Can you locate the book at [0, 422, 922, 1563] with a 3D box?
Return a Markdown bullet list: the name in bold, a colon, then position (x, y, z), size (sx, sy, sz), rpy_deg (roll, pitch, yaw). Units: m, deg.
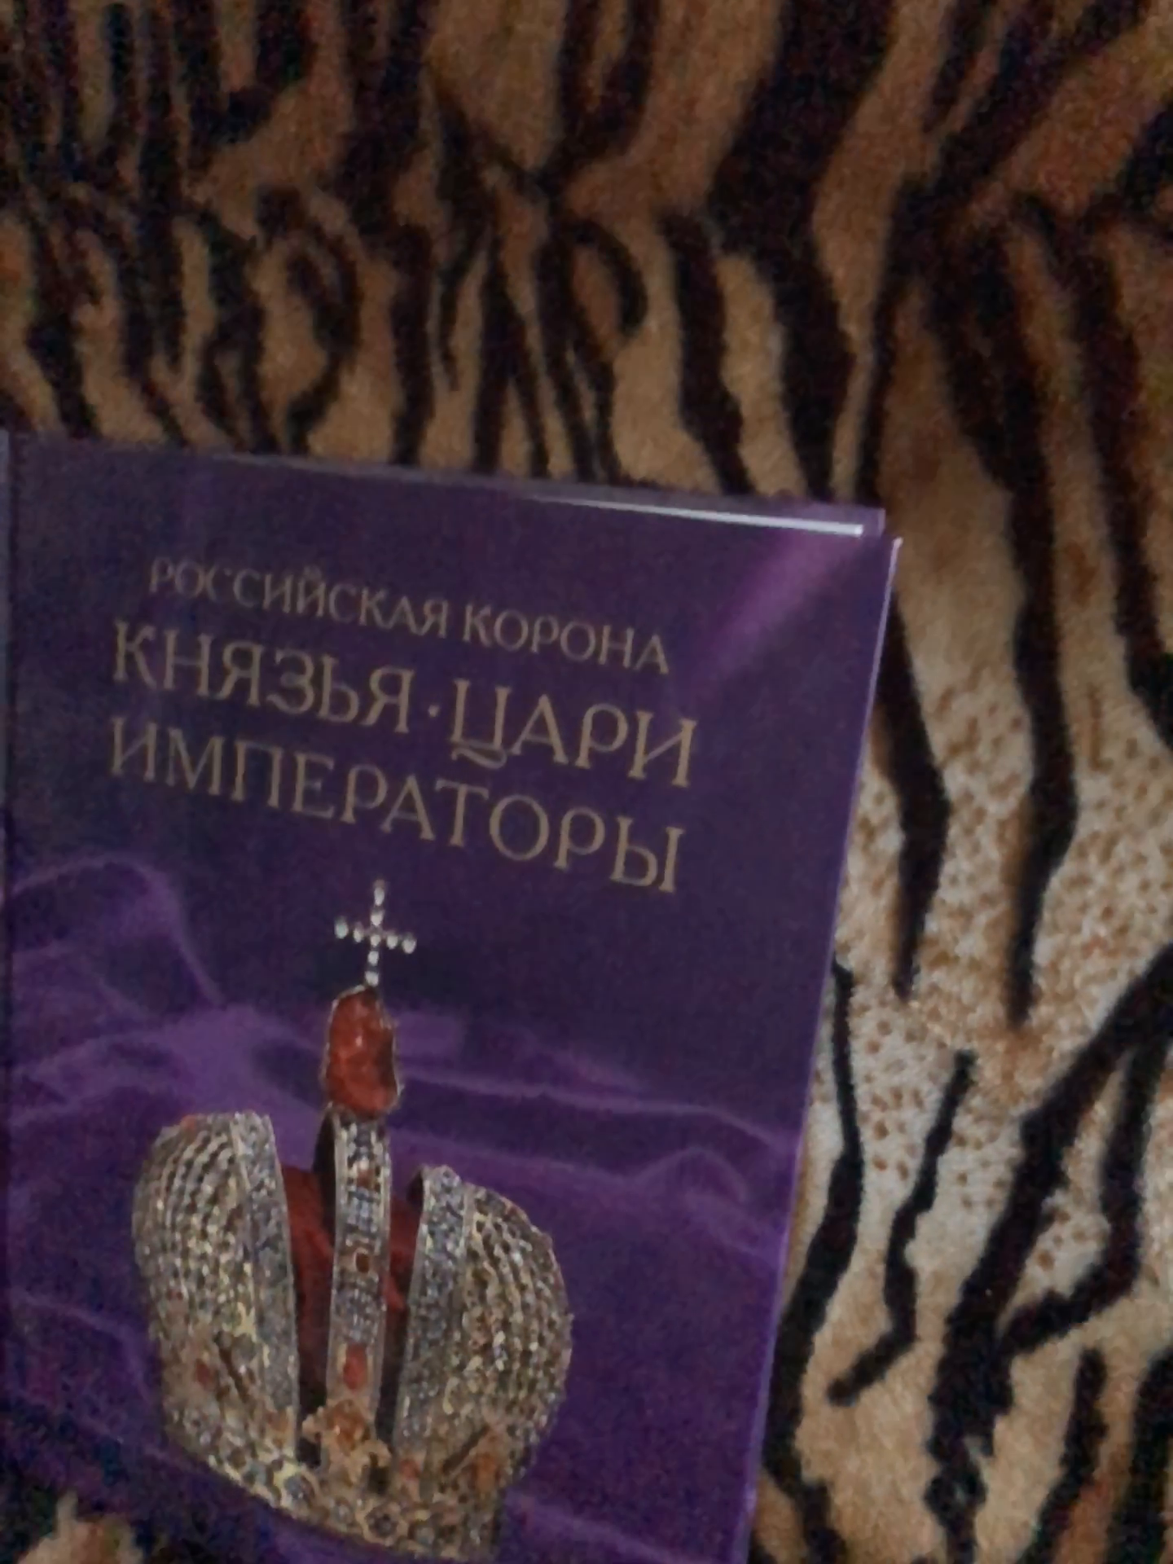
- **book**: position (-0.056, 0.068, 0.312), size (0.223, 0.279, 0.035), rpy_deg (10, 13, 20)
